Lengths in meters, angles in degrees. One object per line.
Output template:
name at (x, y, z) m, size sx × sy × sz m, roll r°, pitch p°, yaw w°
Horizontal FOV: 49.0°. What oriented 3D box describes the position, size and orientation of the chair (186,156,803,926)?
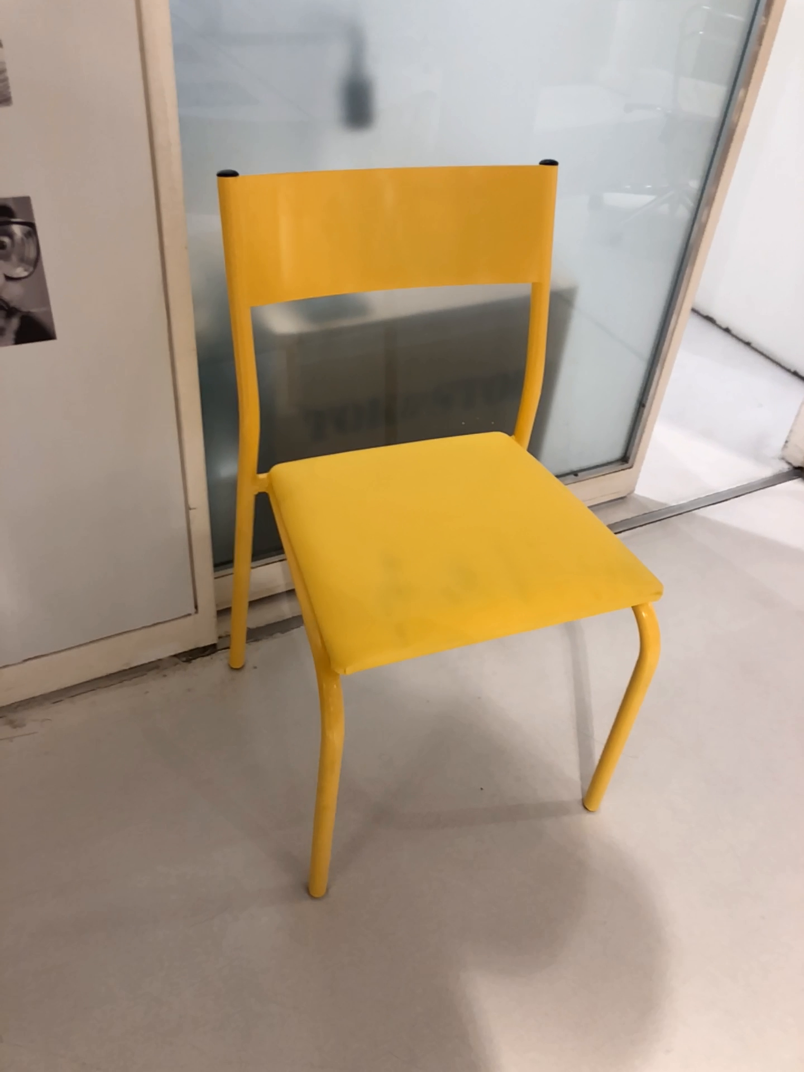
chair at (0.041, 0.001, 1.161) m, size 0.491 × 0.784 × 0.523 m, roll -11°, pitch 42°, yaw -19°
